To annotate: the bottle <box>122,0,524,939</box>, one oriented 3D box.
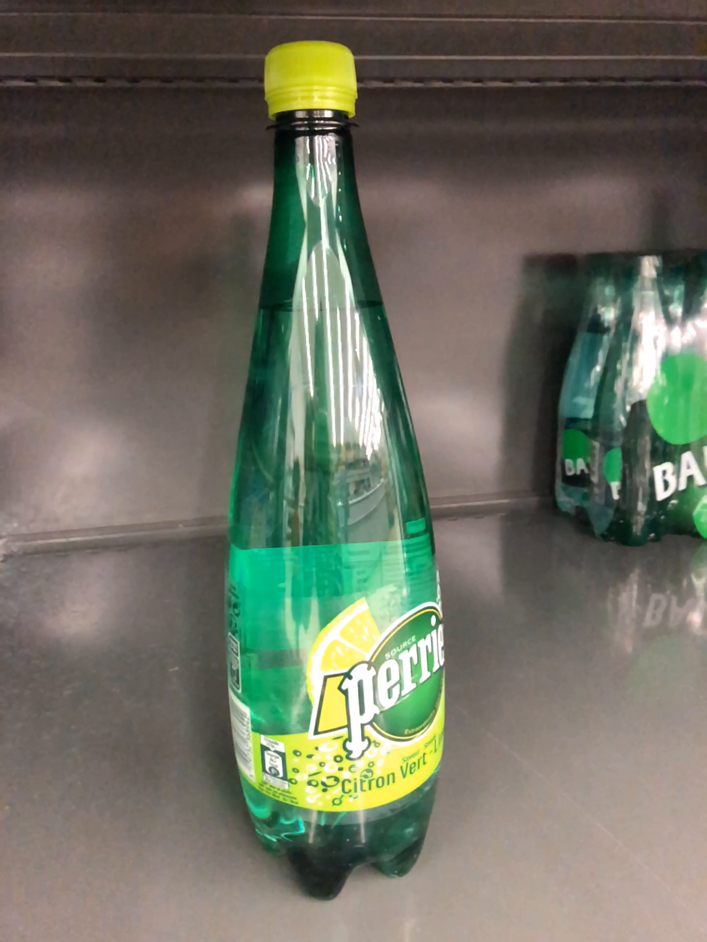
[{"bbox_3d":[-0.007,0.000,0.299,0.100,0.299,0.090,-13,18,-35],"label":"bottle"}]
